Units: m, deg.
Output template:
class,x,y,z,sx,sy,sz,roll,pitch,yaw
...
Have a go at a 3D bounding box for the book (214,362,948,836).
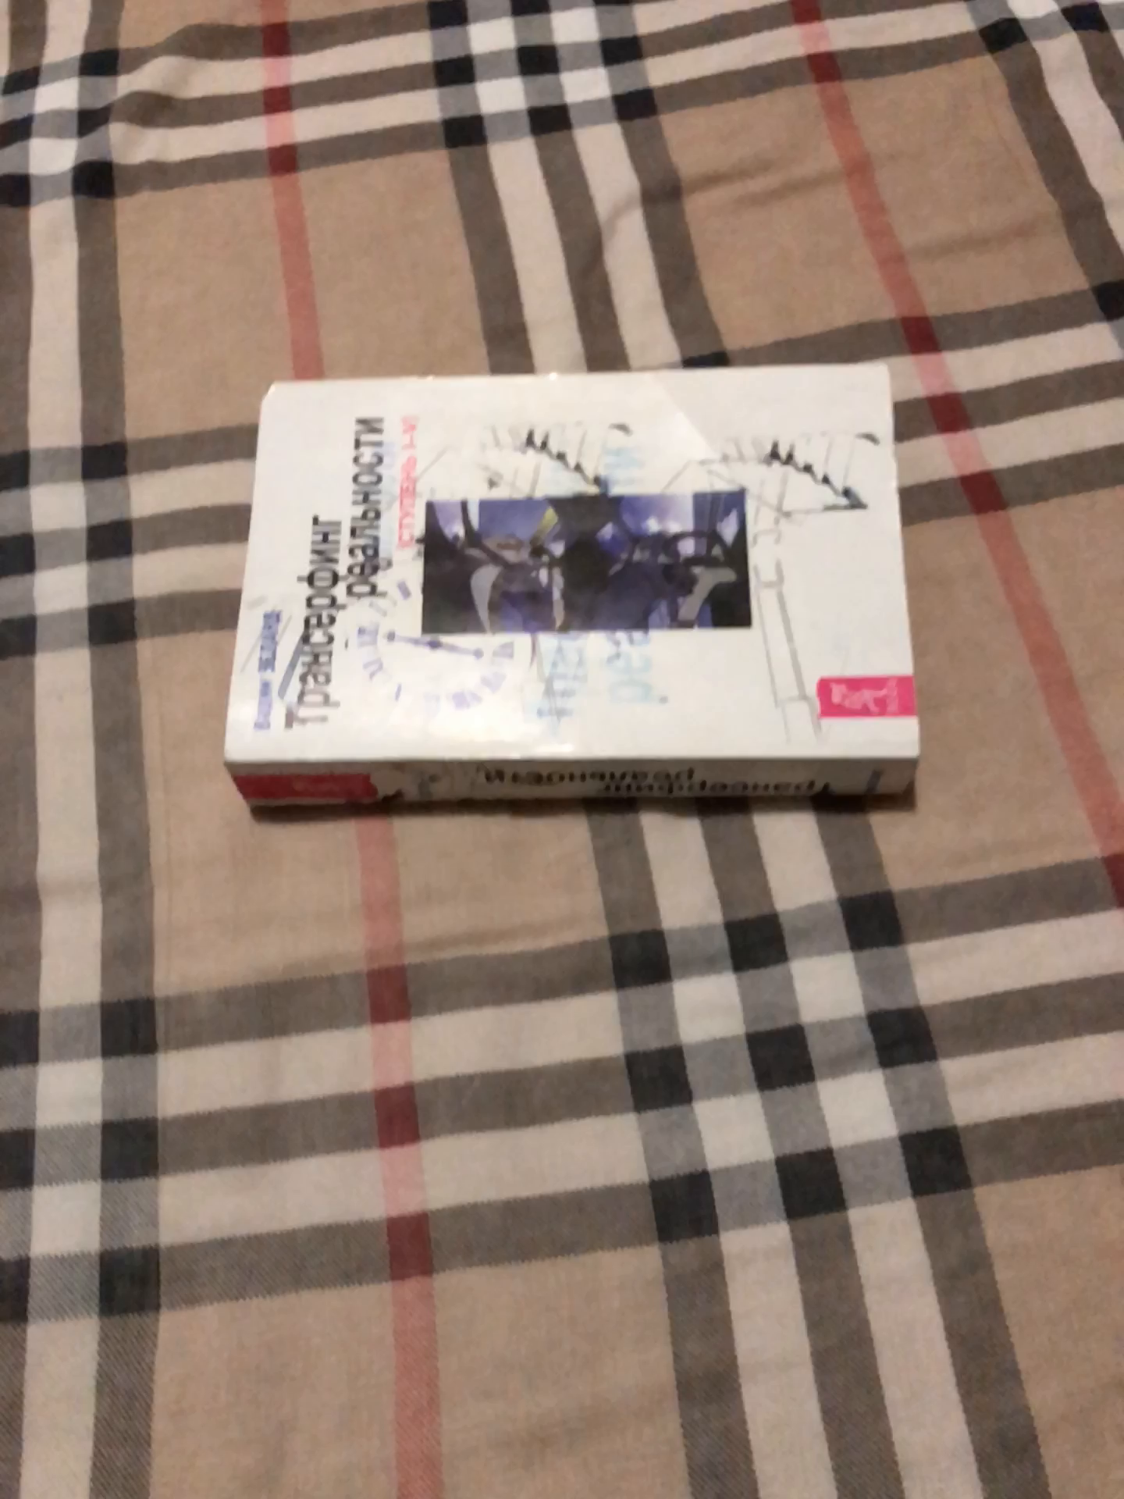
class,x,y,z,sx,sy,sz,roll,pitch,yaw
book,0.004,-0.049,0.389,0.202,0.037,0.143,-2,65,0
